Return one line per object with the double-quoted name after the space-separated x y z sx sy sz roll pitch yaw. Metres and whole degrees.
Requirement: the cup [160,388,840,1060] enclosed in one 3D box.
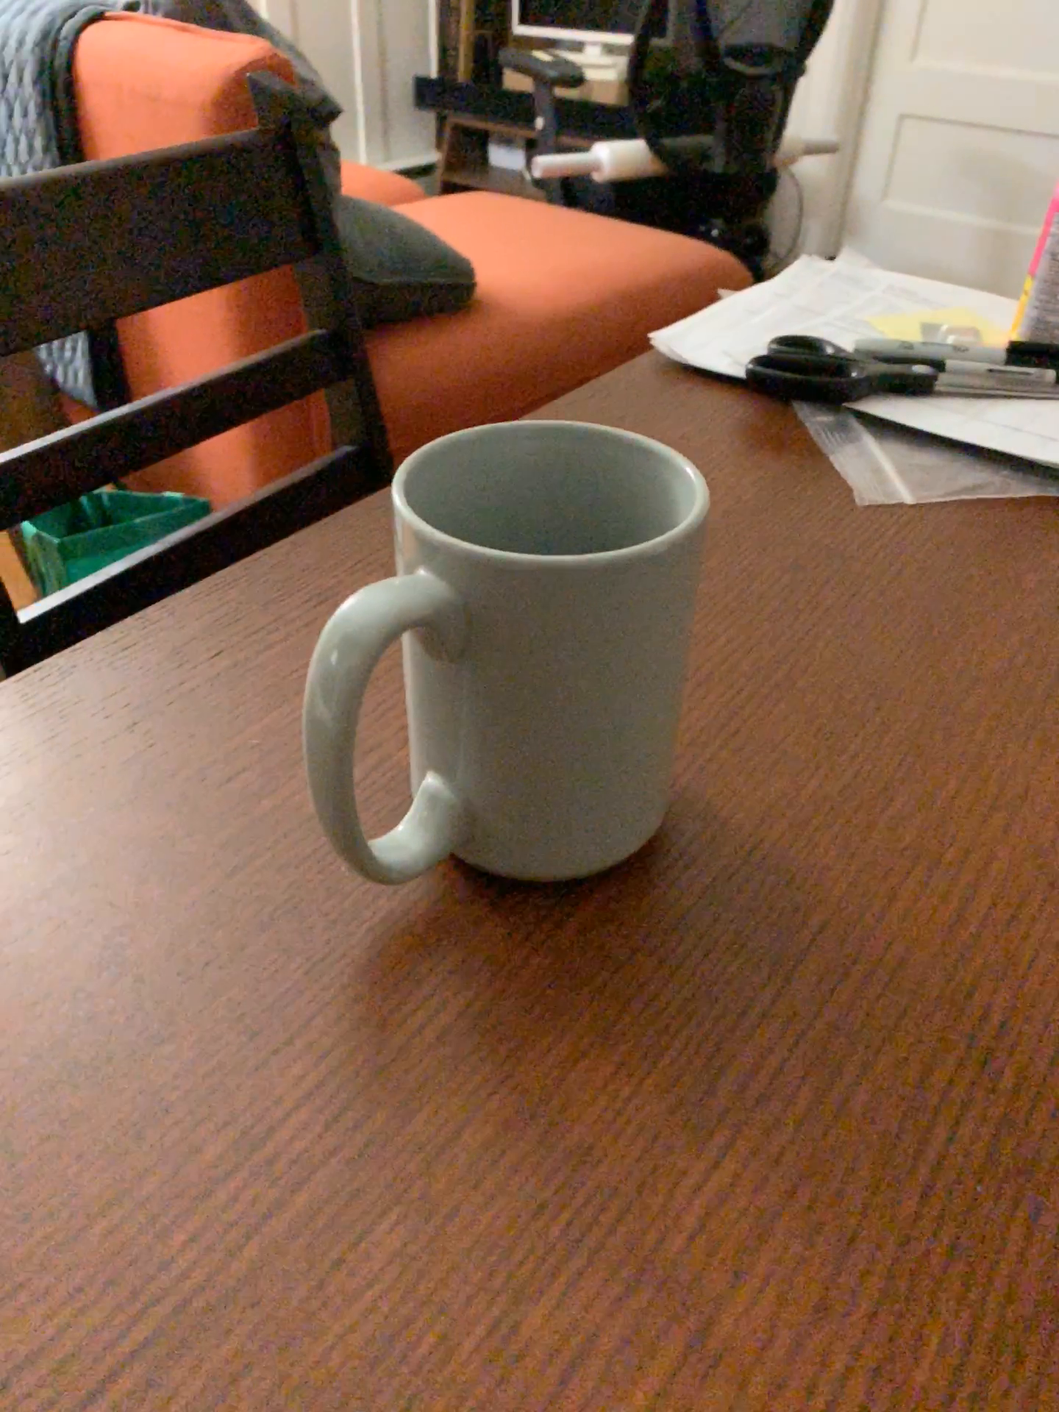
-0.006 -0.005 0.308 0.140 0.109 0.100 -27 46 -33 "cup"
